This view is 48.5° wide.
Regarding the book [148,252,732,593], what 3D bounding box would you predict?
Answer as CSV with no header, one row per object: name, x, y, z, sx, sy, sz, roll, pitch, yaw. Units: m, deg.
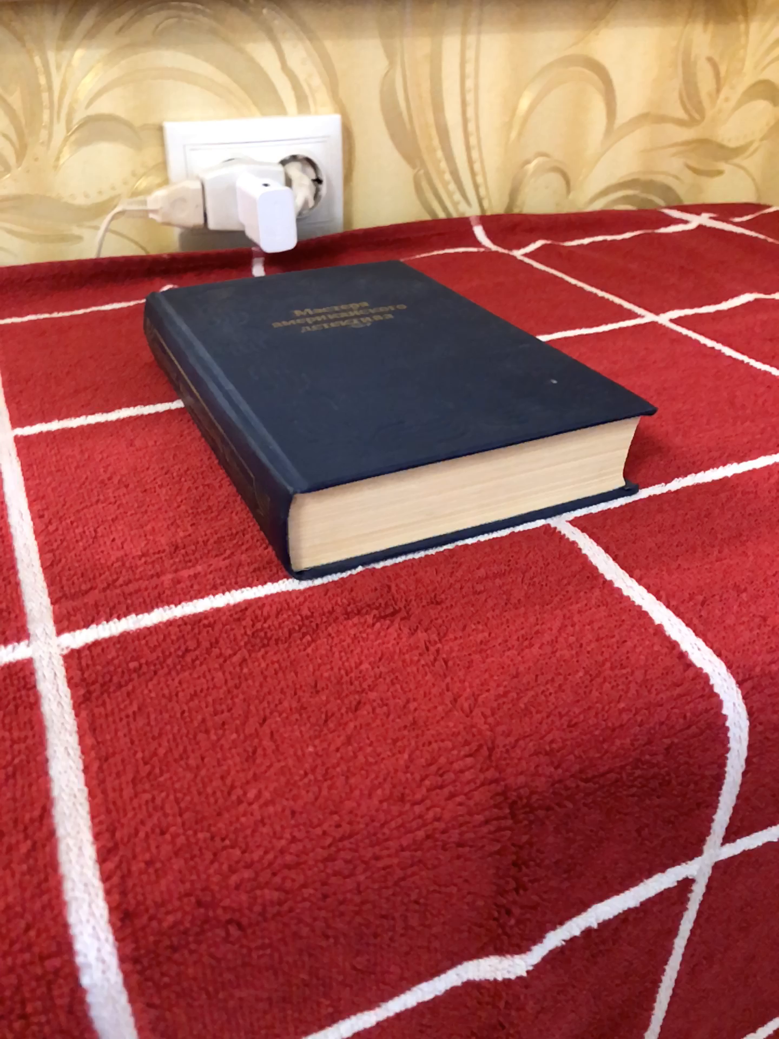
book,0.003,-0.055,0.330,0.143,0.030,0.194,-14,35,-21
